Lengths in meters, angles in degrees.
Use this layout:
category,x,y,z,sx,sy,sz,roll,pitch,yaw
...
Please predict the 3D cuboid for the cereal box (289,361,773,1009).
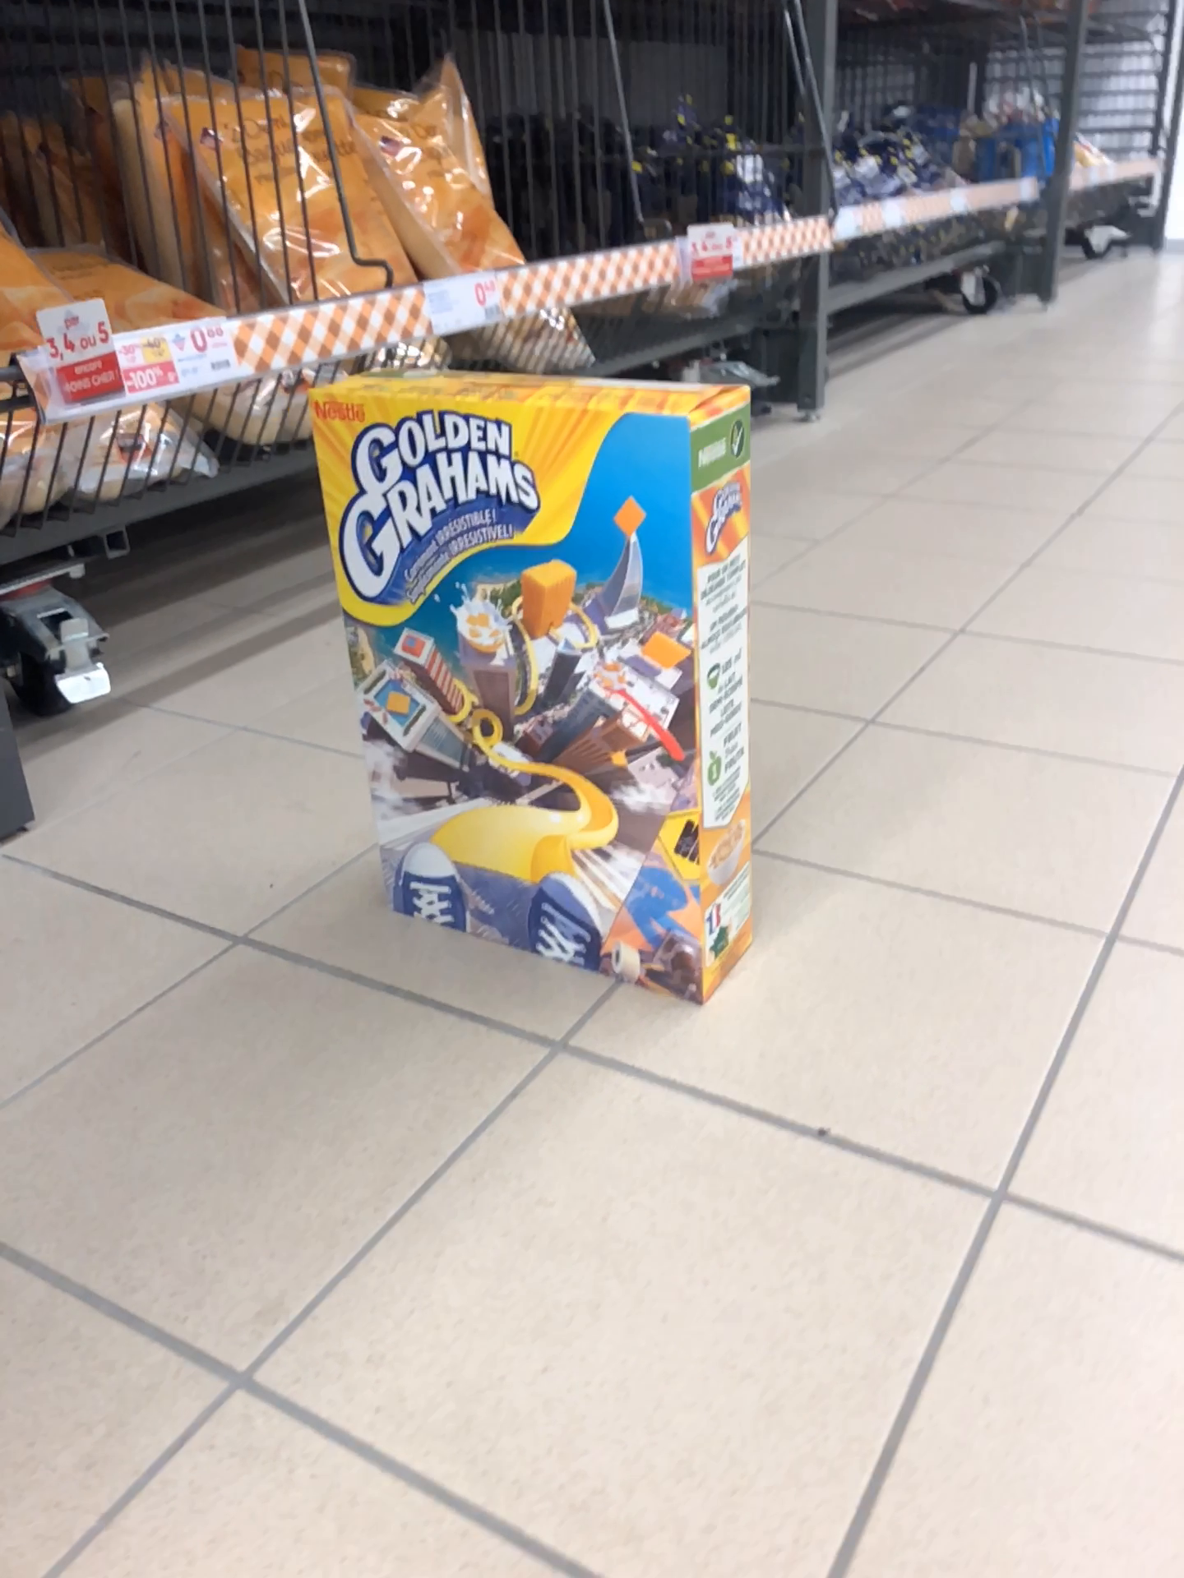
category,x,y,z,sx,sy,sz,roll,pitch,yaw
cereal box,-0.025,-0.053,0.612,0.200,0.268,0.070,12,29,27
